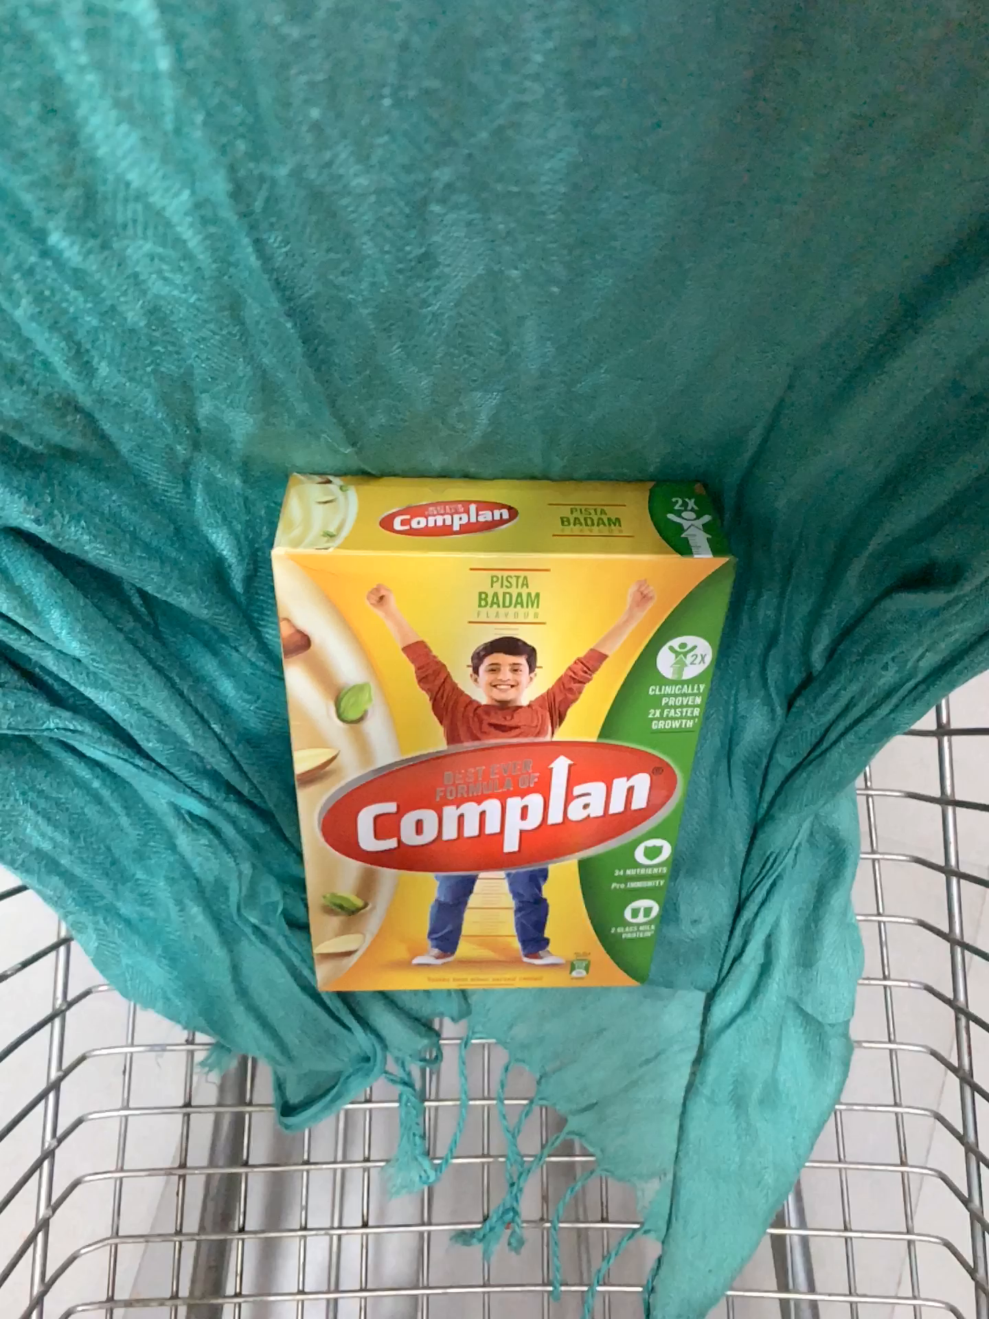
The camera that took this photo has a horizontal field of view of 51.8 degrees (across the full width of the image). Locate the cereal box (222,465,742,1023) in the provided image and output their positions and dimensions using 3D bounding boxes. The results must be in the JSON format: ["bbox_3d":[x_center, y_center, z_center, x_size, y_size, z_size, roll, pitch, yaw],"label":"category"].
[{"bbox_3d":[-0.005,0.038,0.356,0.140,0.060,0.200,-1,125,-2],"label":"cereal box"}]
